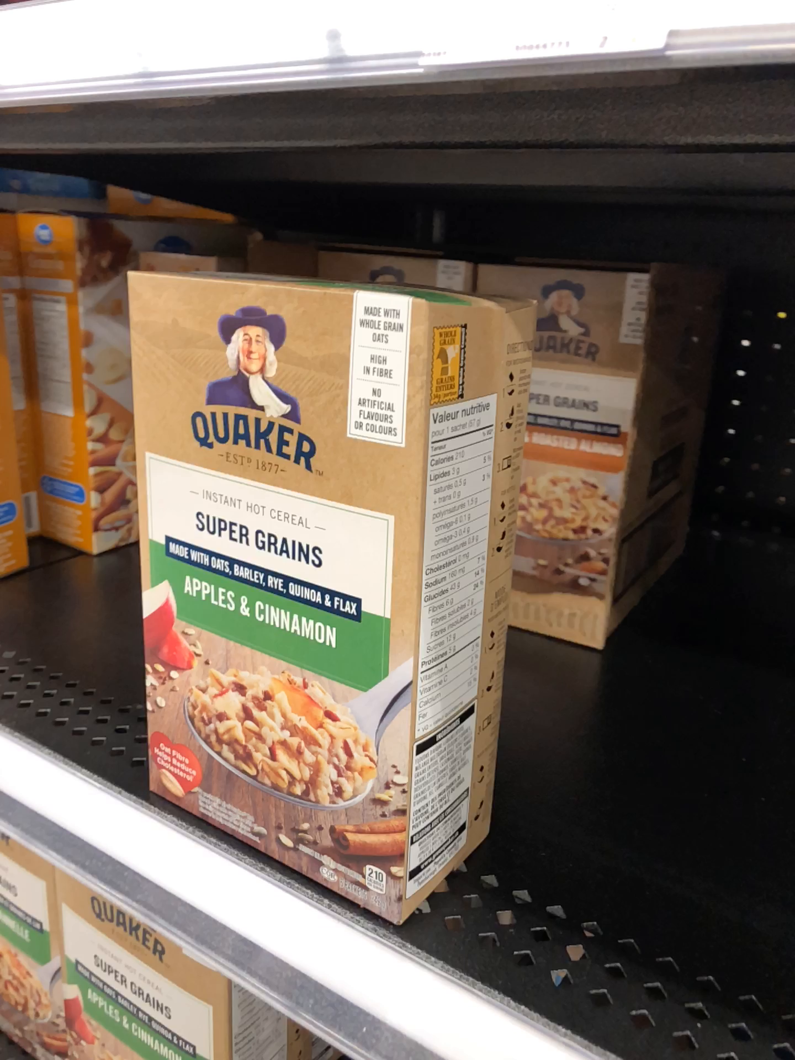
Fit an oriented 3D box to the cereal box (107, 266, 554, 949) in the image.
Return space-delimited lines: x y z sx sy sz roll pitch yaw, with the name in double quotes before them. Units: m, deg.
"cereal box" -0.028 0.016 0.306 0.130 0.199 0.060 14 22 32
